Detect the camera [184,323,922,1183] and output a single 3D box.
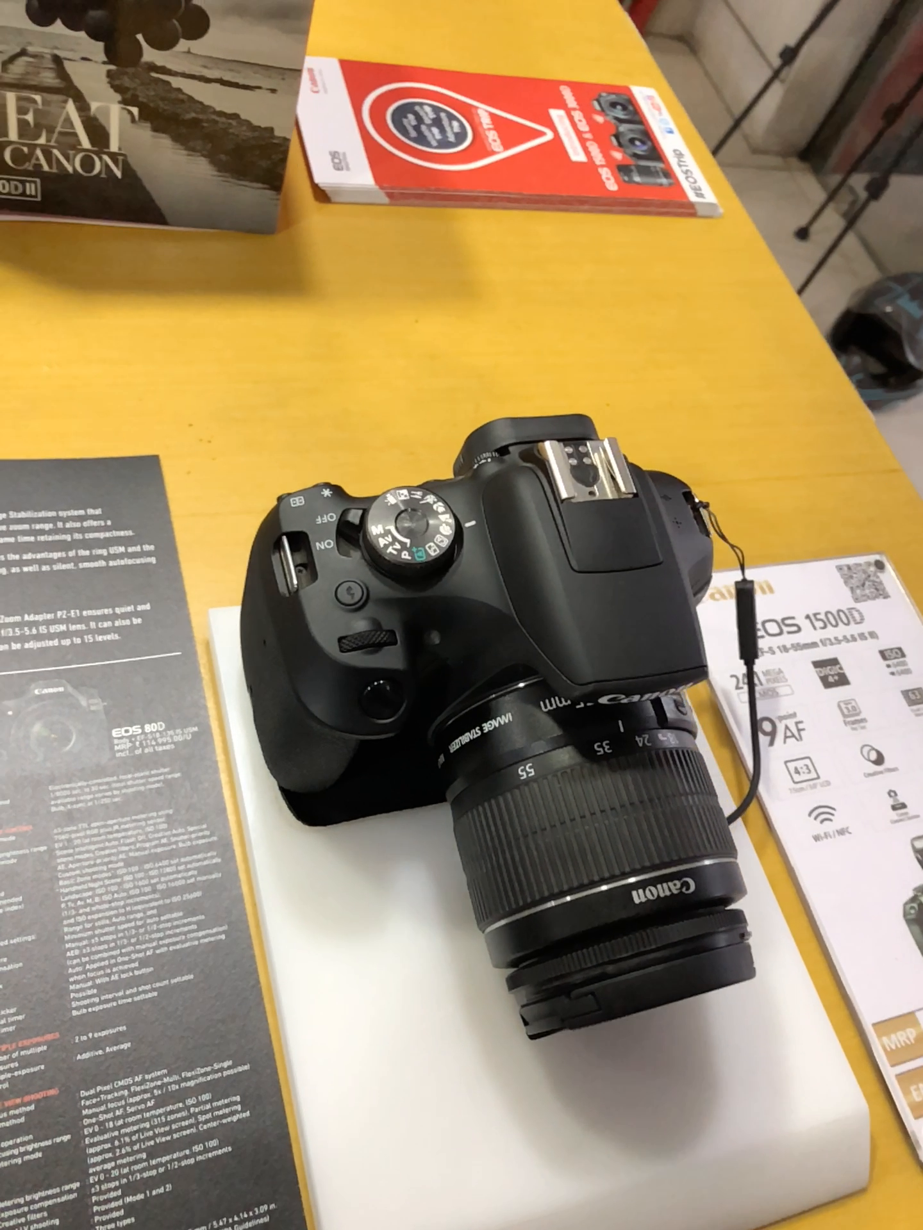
[{"bbox_3d":[0.022,0.021,0.225,0.140,0.090,0.141,-7,59,-20],"label":"camera"}]
